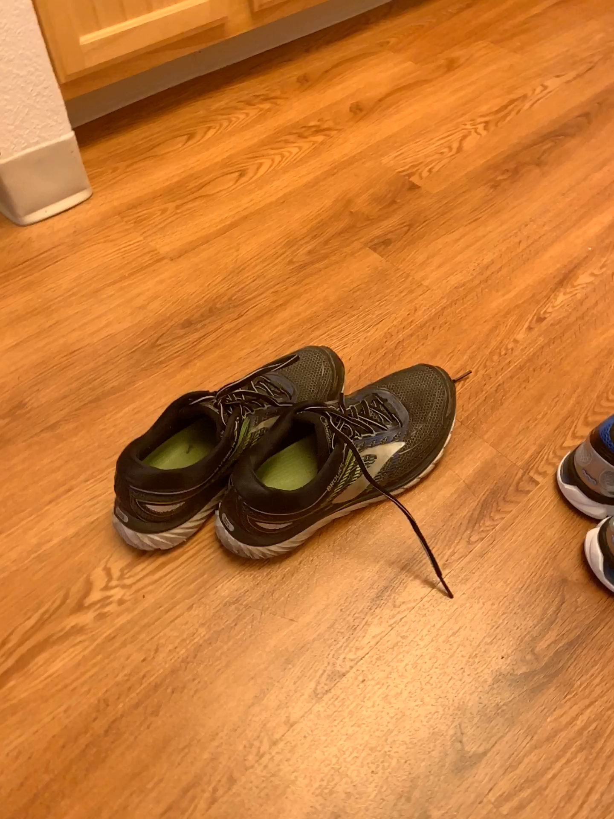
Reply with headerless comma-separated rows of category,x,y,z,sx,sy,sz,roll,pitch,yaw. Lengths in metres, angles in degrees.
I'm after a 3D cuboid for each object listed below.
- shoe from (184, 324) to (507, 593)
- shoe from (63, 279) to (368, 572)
shoe,0.044,0.045,0.655,0.310,0.119,0.100,-28,57,-19
shoe,-0.079,0.008,0.667,0.100,0.119,0.310,37,62,25
